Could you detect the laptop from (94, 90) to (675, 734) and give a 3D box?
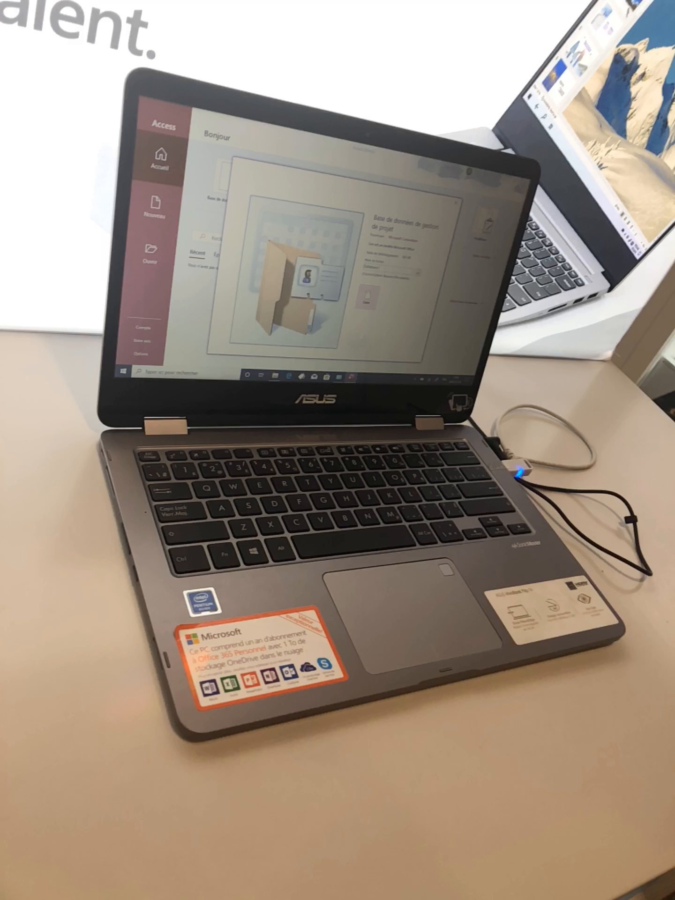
[{"bbox_3d":[0.047,-0.037,0.464,0.312,0.214,0.273,-2,42,-31],"label":"laptop"}]
